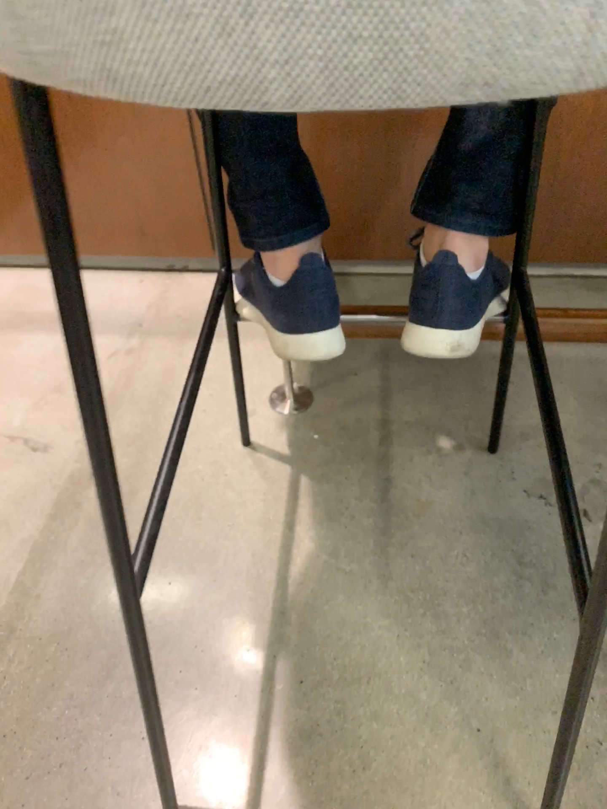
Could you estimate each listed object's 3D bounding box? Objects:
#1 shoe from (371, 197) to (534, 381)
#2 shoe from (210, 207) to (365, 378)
[{"bbox_3d":[0.192,-0.157,0.763,0.129,0.093,0.301,16,36,14],"label":"shoe"},{"bbox_3d":[-0.031,-0.154,0.775,0.124,0.093,0.301,-10,33,-10],"label":"shoe"}]
